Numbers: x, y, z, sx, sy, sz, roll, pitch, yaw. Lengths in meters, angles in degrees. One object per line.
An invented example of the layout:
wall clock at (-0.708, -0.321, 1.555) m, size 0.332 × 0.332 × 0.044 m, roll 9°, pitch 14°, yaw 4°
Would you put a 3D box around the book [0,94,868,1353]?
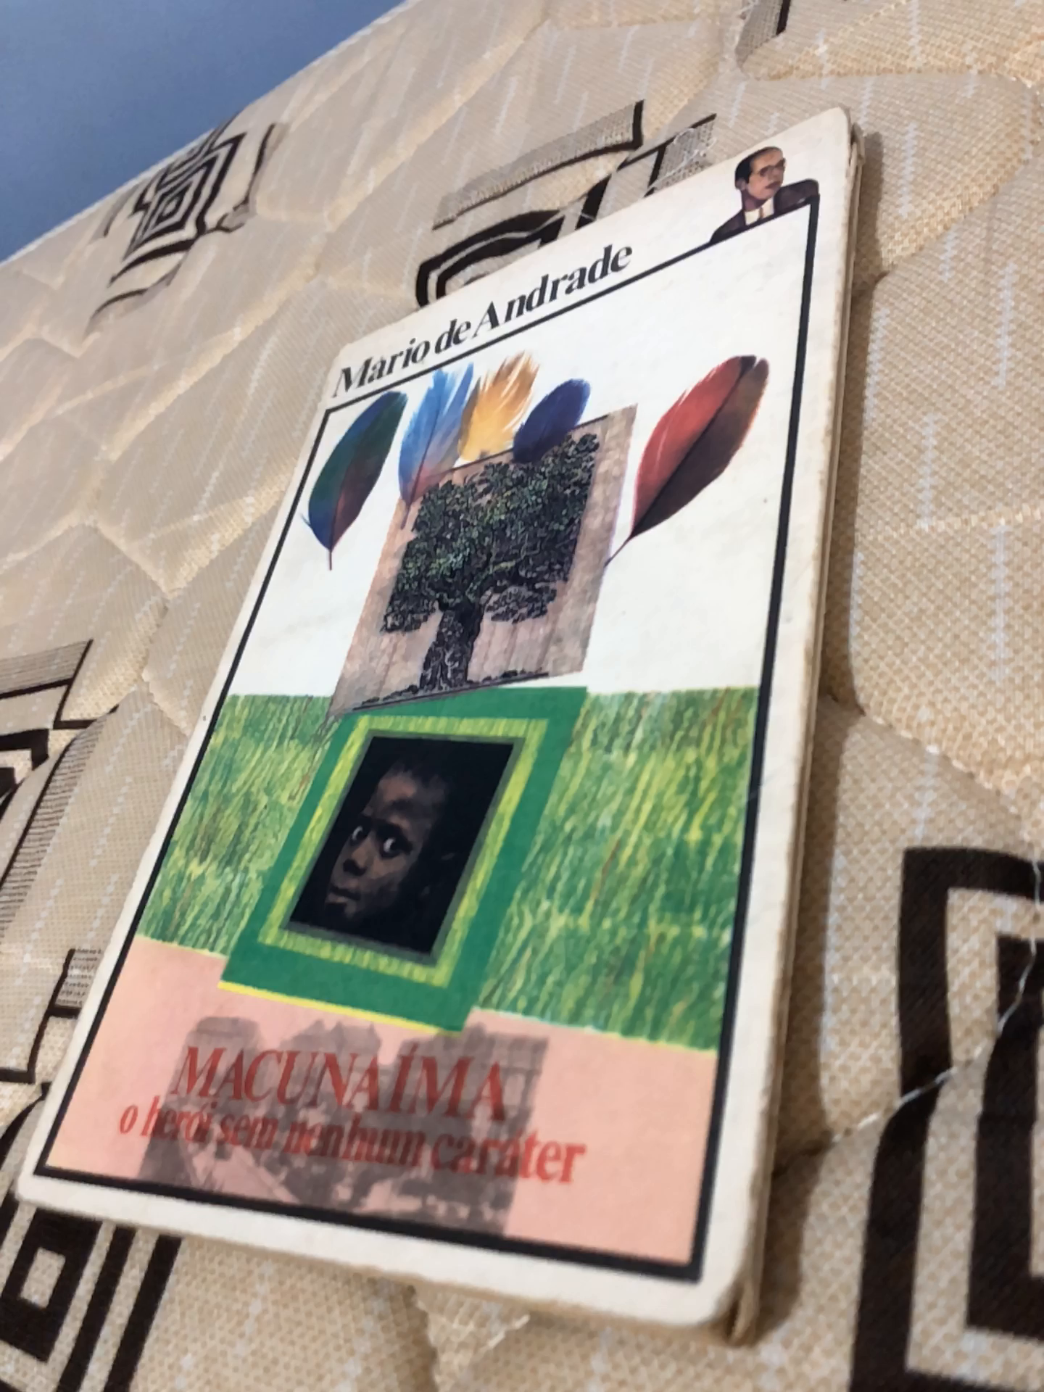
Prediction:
book at (-0.013, -0.008, 0.199) m, size 0.130 × 0.020 × 0.190 m, roll -11°, pitch 53°, yaw 36°
